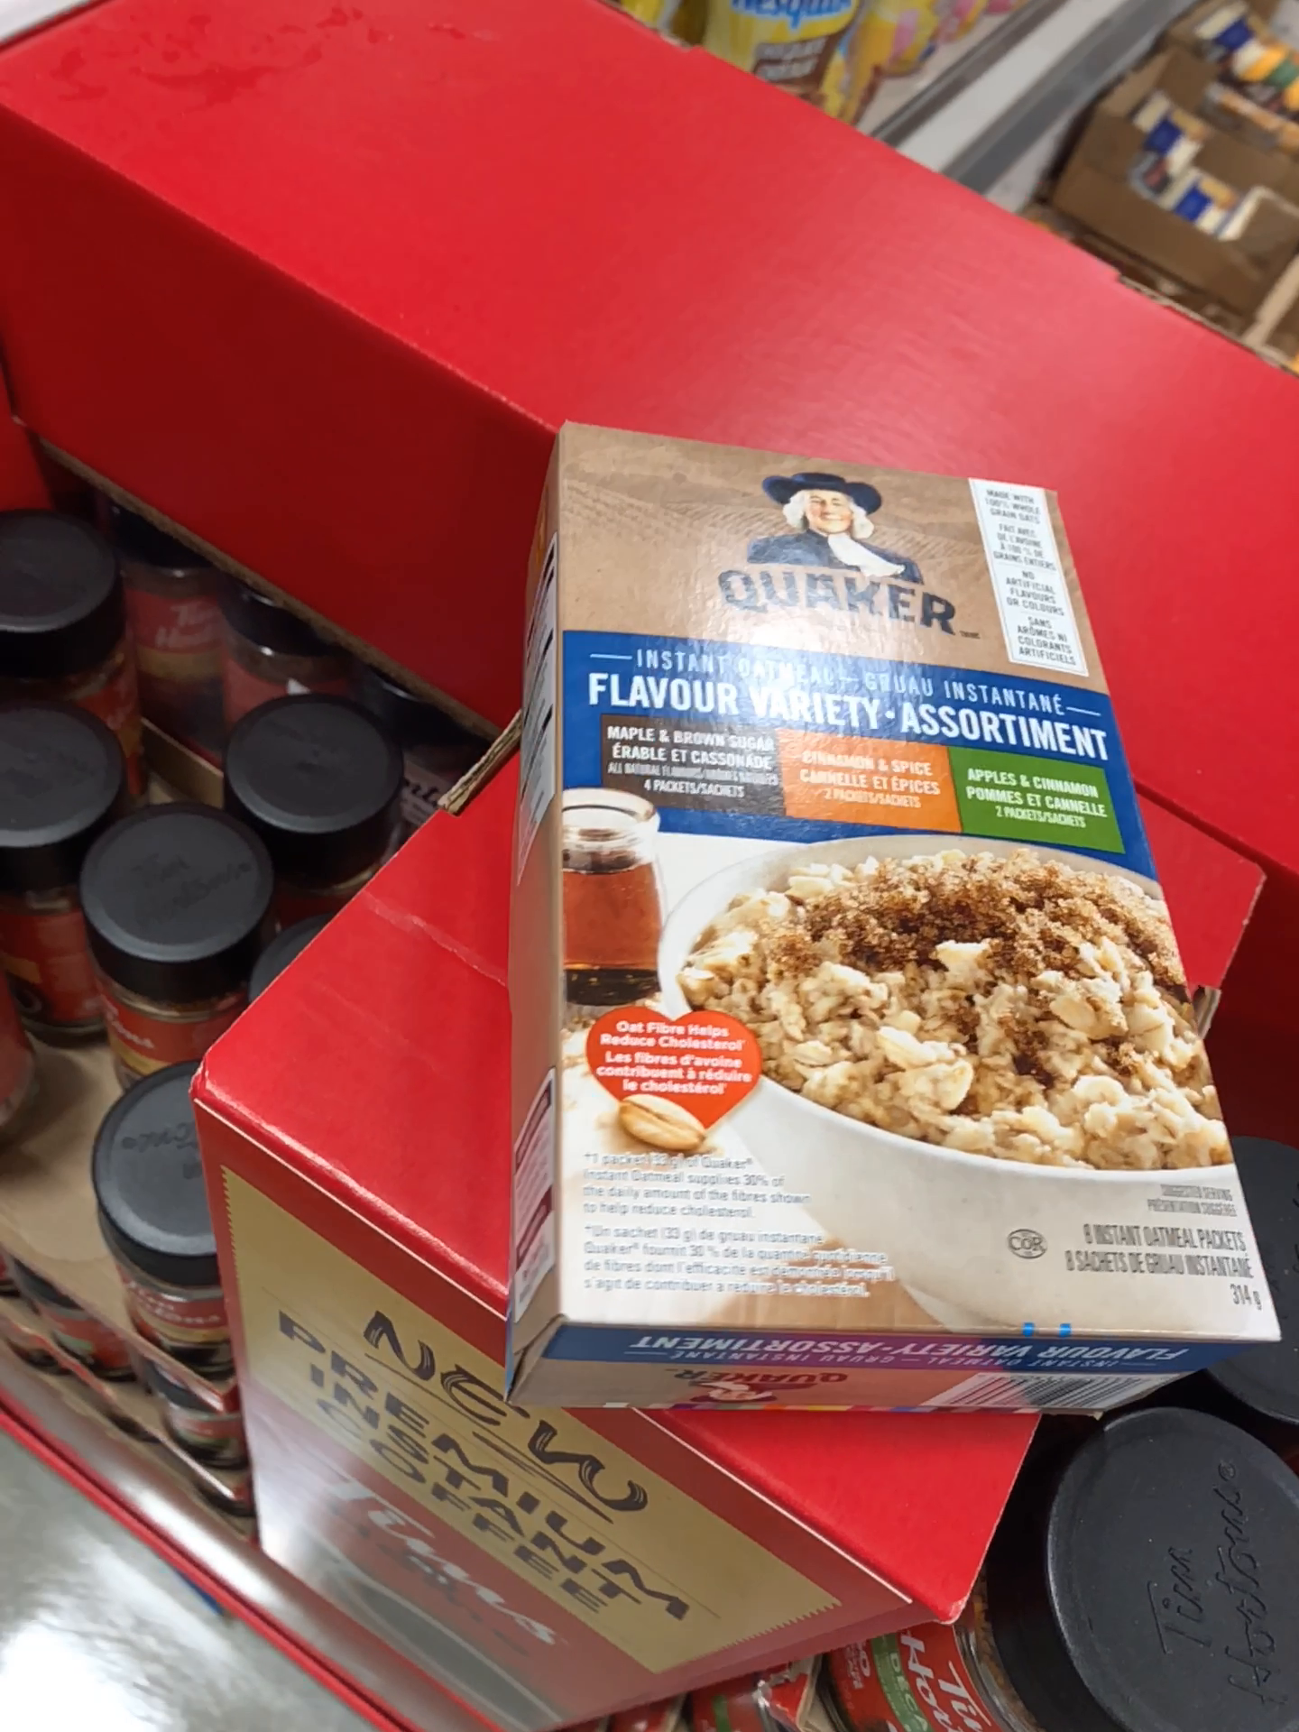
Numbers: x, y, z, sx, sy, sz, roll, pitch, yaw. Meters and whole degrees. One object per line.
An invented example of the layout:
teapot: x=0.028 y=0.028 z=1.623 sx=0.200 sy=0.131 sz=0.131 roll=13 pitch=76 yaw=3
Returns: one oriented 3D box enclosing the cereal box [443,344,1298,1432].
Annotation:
cereal box: x=0.036 y=0.000 z=0.304 sx=0.140 sy=0.070 sz=0.210 roll=5 pitch=58 yaw=-11
